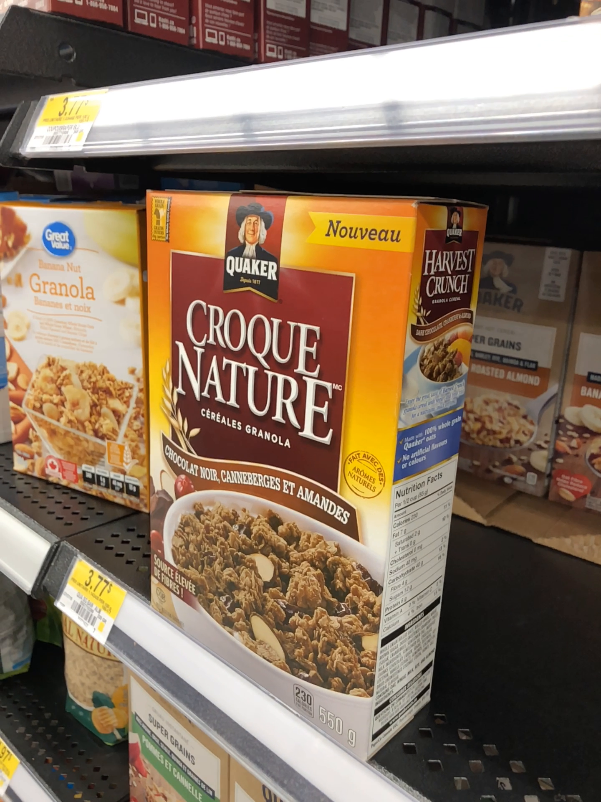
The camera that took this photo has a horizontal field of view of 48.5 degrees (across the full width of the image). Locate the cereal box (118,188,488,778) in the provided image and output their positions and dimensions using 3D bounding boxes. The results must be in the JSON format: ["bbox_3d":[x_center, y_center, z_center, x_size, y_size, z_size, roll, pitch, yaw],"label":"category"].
[{"bbox_3d":[-0.013,0.021,0.316,0.170,0.229,0.050,17,22,41],"label":"cereal box"}]
